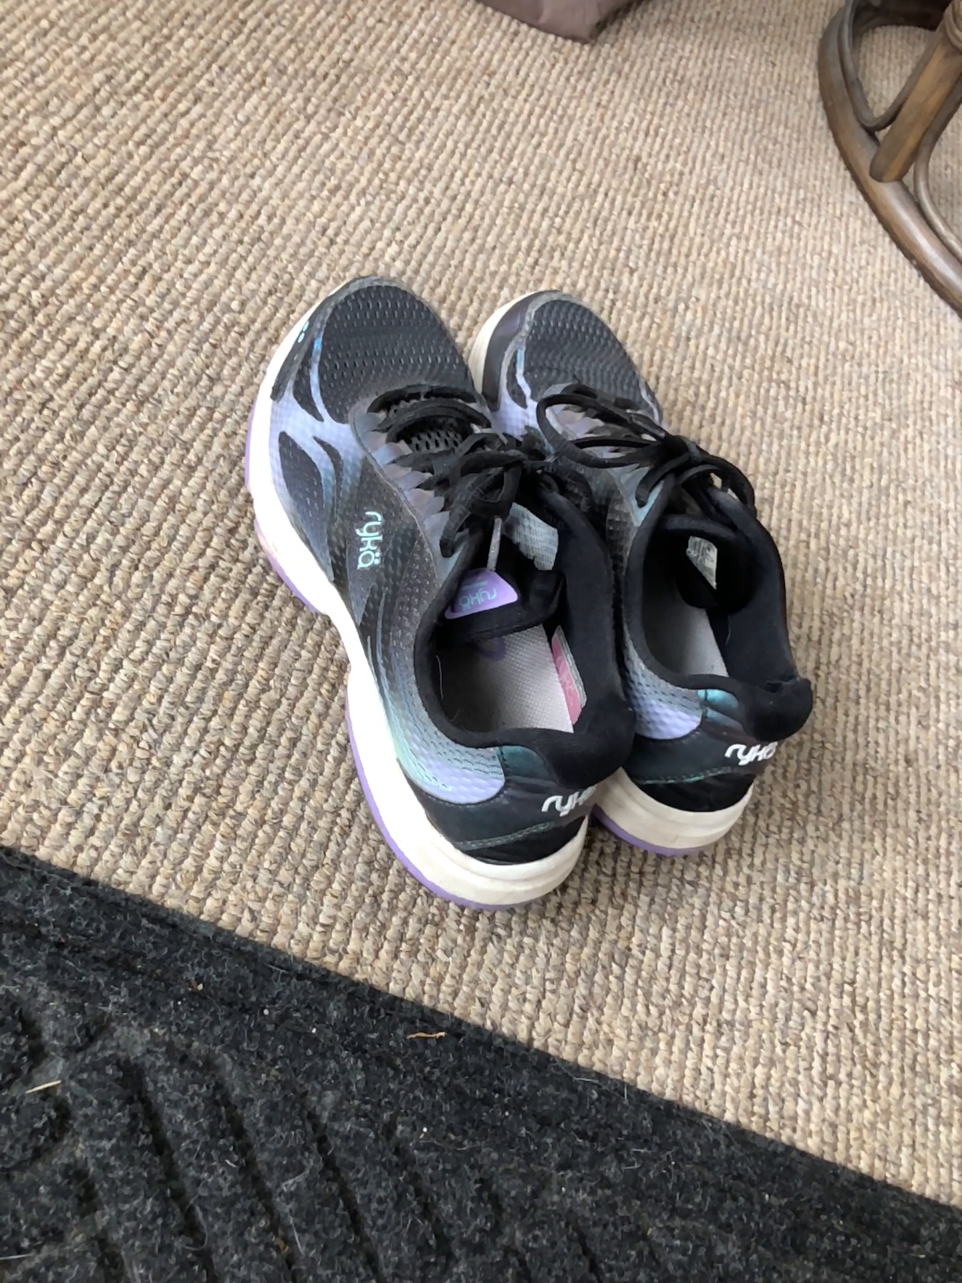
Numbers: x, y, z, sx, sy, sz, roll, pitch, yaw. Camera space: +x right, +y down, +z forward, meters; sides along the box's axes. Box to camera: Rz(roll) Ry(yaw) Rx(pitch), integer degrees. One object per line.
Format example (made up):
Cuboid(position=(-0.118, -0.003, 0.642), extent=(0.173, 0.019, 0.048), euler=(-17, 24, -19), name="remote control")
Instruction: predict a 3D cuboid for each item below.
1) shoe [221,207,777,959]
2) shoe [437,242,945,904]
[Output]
Cuboid(position=(-0.008, -0.028, 0.416), extent=(0.110, 0.103, 0.257), euler=(-5, 65, -31), name="shoe")
Cuboid(position=(0.076, -0.033, 0.466), extent=(0.103, 0.103, 0.257), euler=(-1, 63, -29), name="shoe")
